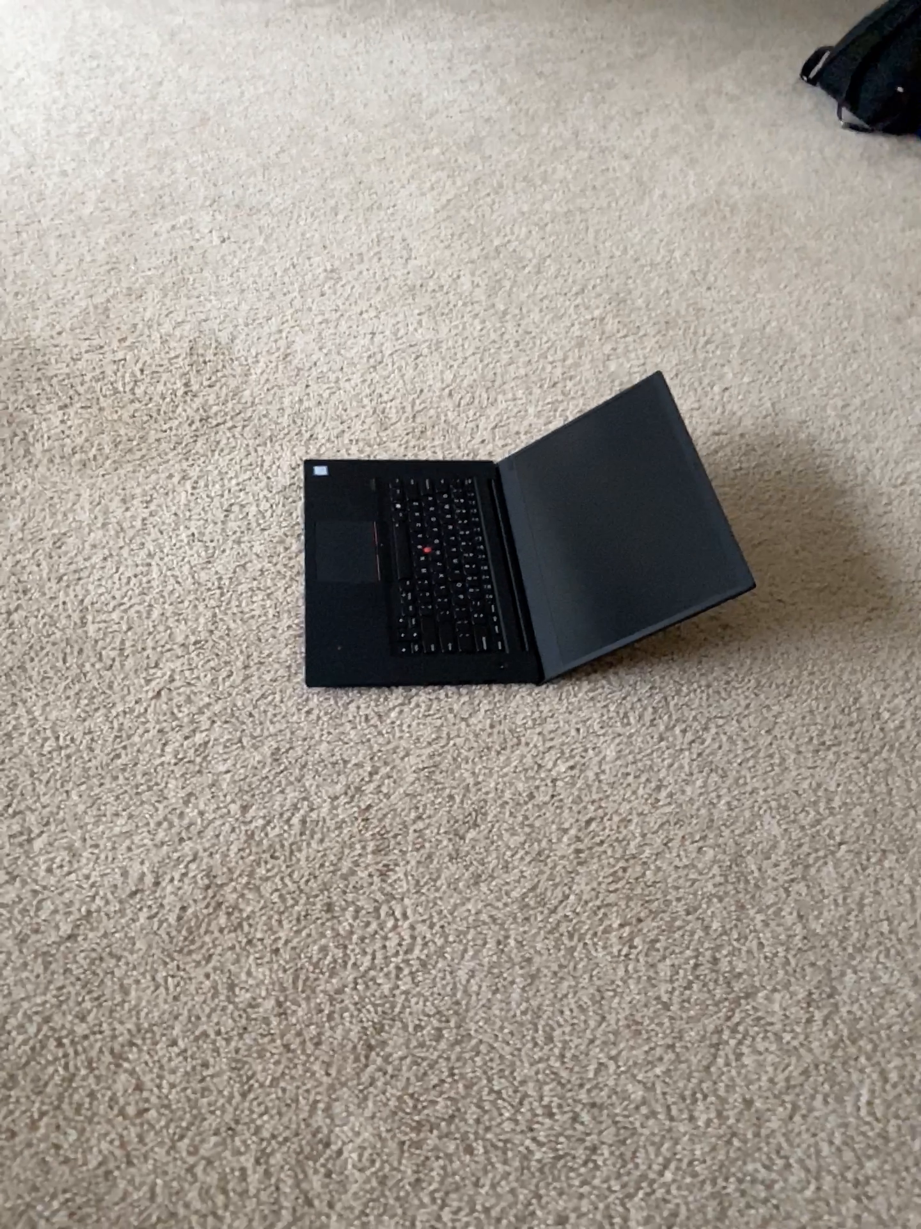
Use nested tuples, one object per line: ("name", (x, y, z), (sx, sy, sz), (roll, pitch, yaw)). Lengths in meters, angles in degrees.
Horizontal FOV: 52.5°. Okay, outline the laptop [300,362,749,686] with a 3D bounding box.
("laptop", (0.042, -0.113, 1.051), (0.432, 0.141, 0.361), (-1, 49, -9))
